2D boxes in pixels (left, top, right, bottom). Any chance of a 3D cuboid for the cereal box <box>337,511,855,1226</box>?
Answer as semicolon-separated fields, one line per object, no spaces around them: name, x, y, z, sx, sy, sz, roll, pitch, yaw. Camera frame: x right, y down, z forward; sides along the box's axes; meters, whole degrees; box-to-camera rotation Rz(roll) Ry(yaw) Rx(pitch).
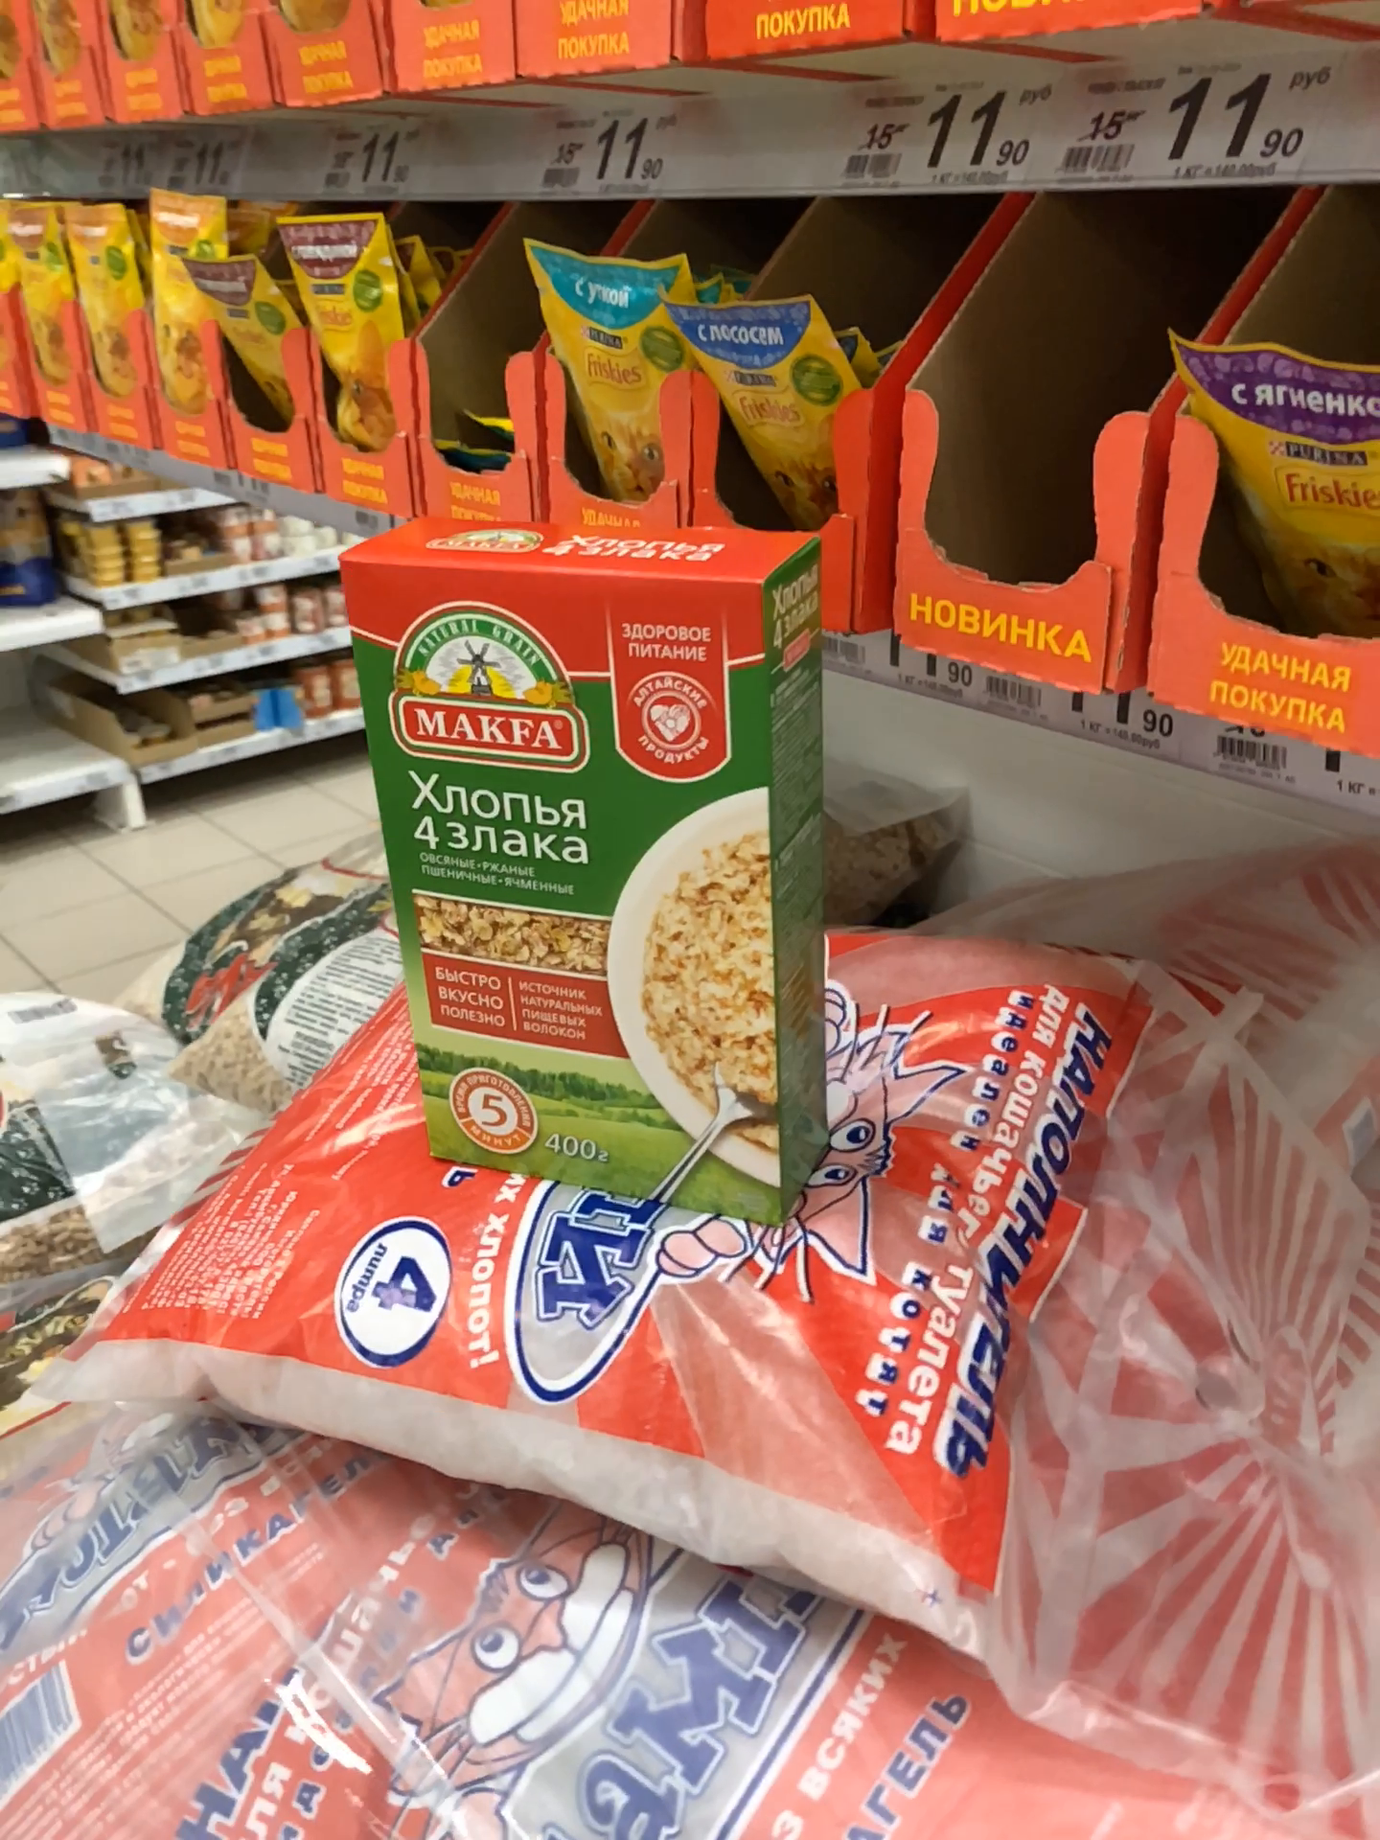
cereal box;-0.023;-0.016;0.479;0.140;0.209;0.050;7;28;20
